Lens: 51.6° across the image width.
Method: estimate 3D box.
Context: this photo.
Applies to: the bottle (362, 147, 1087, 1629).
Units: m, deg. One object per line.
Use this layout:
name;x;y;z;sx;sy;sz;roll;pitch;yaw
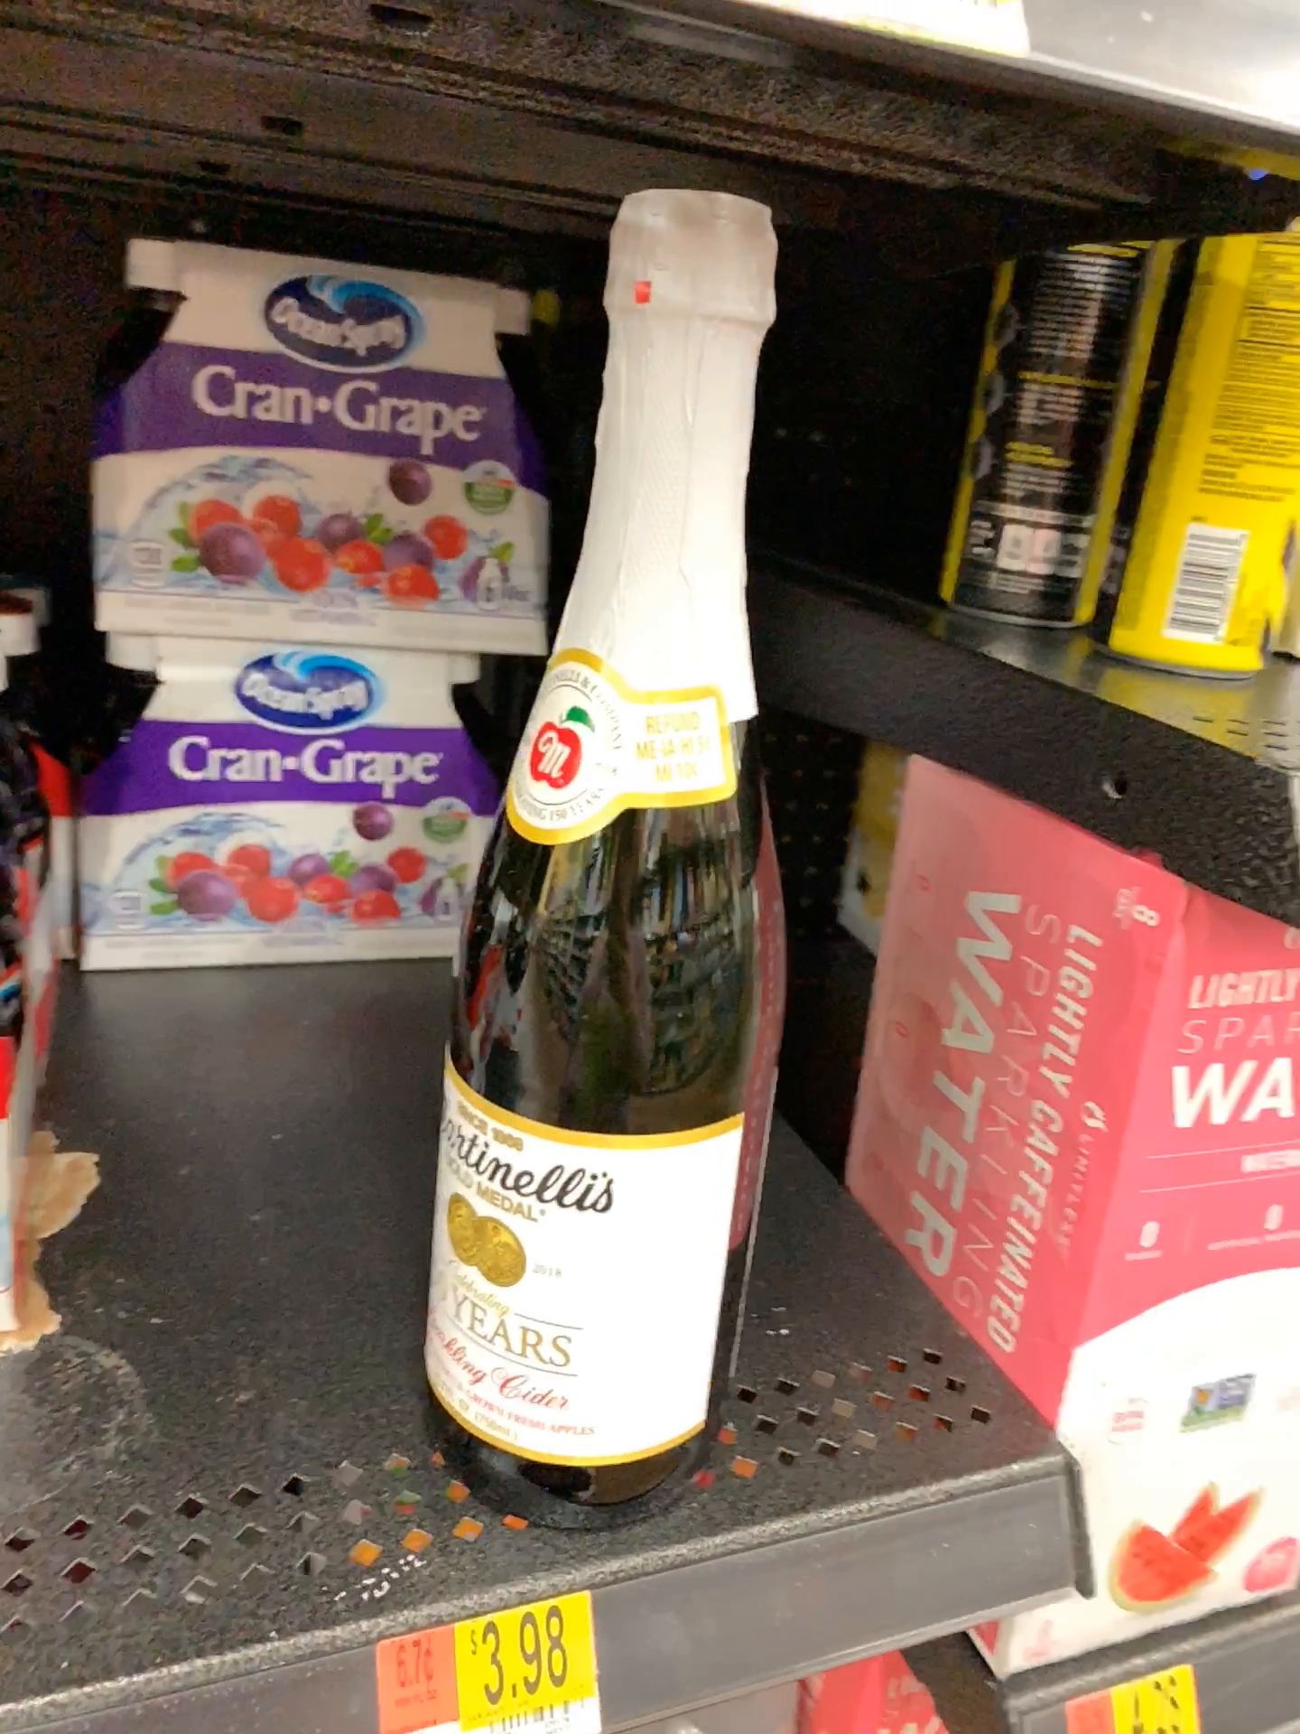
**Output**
bottle;0.004;0.010;0.310;0.090;0.299;0.090;6;20;-2
